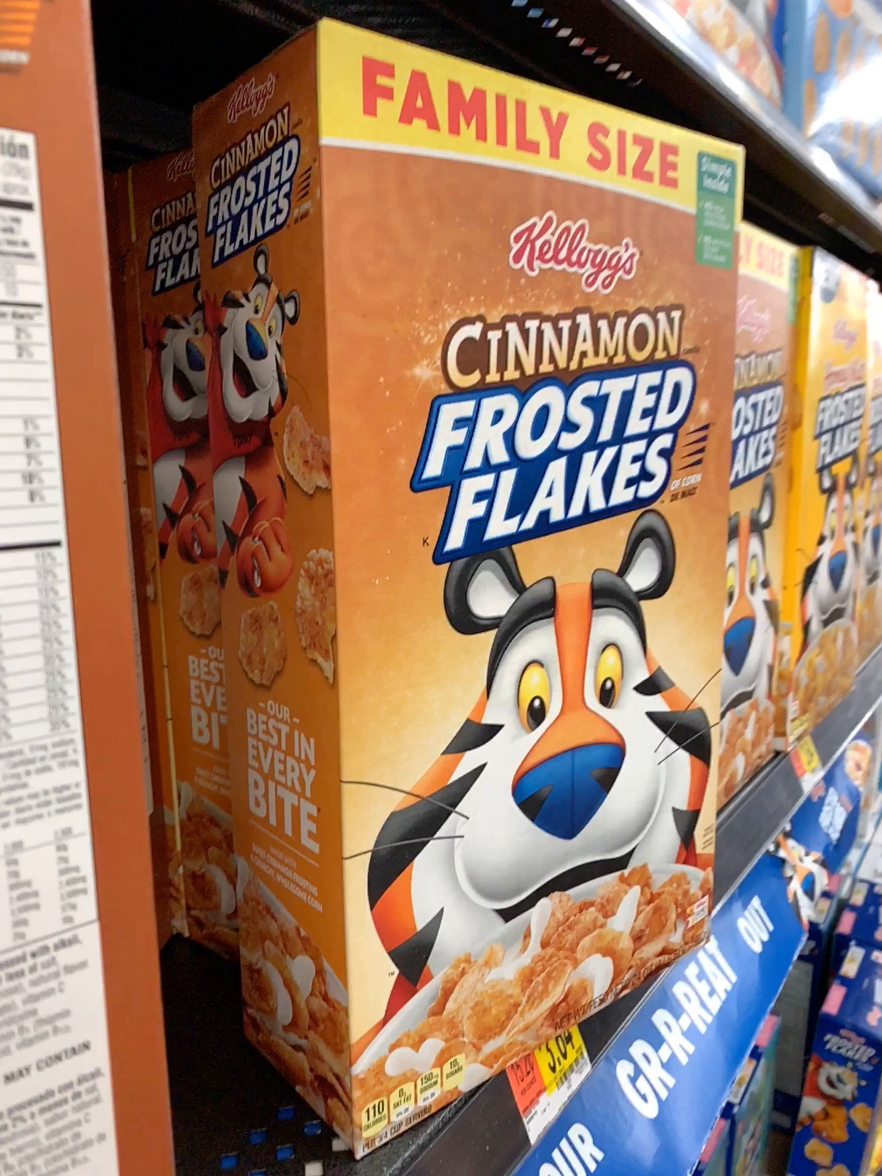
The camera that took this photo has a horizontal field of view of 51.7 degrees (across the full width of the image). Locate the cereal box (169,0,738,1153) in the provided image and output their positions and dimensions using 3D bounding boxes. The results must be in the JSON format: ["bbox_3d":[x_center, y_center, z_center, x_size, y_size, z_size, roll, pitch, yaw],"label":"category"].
[{"bbox_3d":[0.019,-0.006,0.354,0.200,0.339,0.080,-8,10,-37],"label":"cereal box"}]
